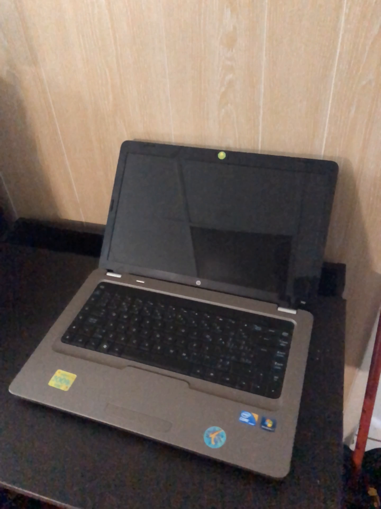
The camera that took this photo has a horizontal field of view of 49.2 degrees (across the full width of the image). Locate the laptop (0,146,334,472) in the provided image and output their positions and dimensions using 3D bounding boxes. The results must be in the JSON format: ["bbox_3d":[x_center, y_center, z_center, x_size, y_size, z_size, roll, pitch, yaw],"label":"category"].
[{"bbox_3d":[-0.010,0.022,0.600,0.356,0.166,0.403,9,42,17],"label":"laptop"}]
